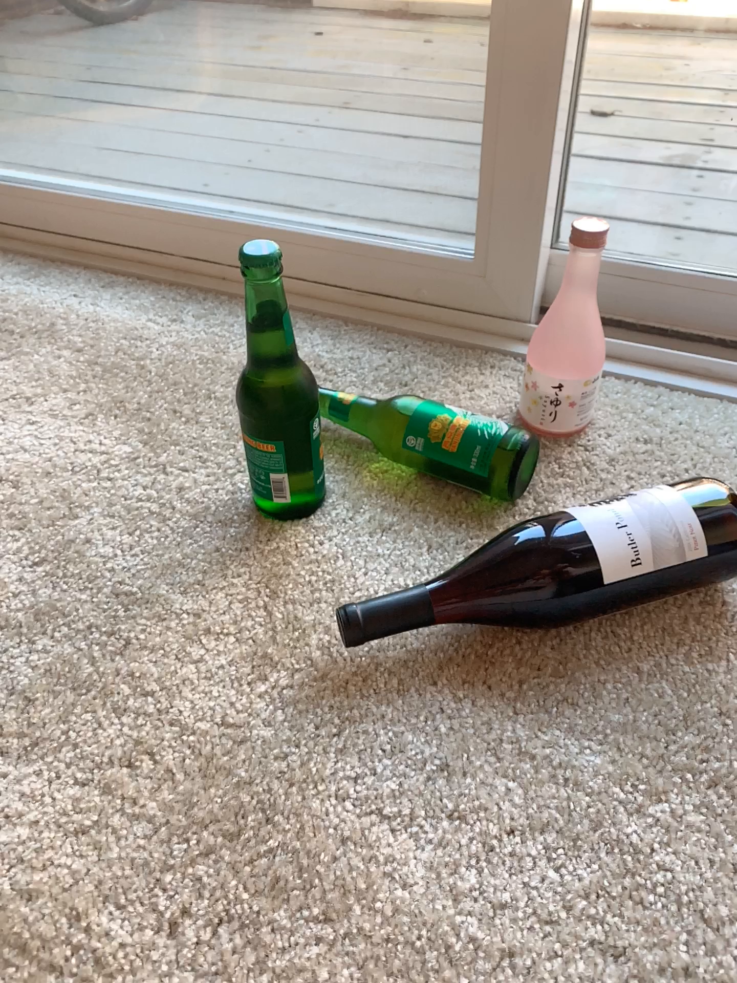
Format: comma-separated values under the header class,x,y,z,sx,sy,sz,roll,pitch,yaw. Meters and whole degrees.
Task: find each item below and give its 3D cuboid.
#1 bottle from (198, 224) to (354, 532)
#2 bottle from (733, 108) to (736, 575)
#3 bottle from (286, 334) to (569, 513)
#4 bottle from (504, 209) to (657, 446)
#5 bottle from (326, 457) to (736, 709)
class,x,y,z,sx,sy,sz,roll,pitch,yaw
bottle,-0.063,-0.077,0.554,0.080,0.199,0.081,-1,41,1
bottle,0.348,-0.084,0.506,0.080,0.288,0.091,-12,42,-11
bottle,0.043,-0.063,0.638,0.231,0.060,0.060,22,46,24
bottle,0.171,-0.136,0.641,0.070,0.169,0.081,-12,42,-11
bottle,0.123,0.052,0.491,0.290,0.060,0.070,-13,42,-14
